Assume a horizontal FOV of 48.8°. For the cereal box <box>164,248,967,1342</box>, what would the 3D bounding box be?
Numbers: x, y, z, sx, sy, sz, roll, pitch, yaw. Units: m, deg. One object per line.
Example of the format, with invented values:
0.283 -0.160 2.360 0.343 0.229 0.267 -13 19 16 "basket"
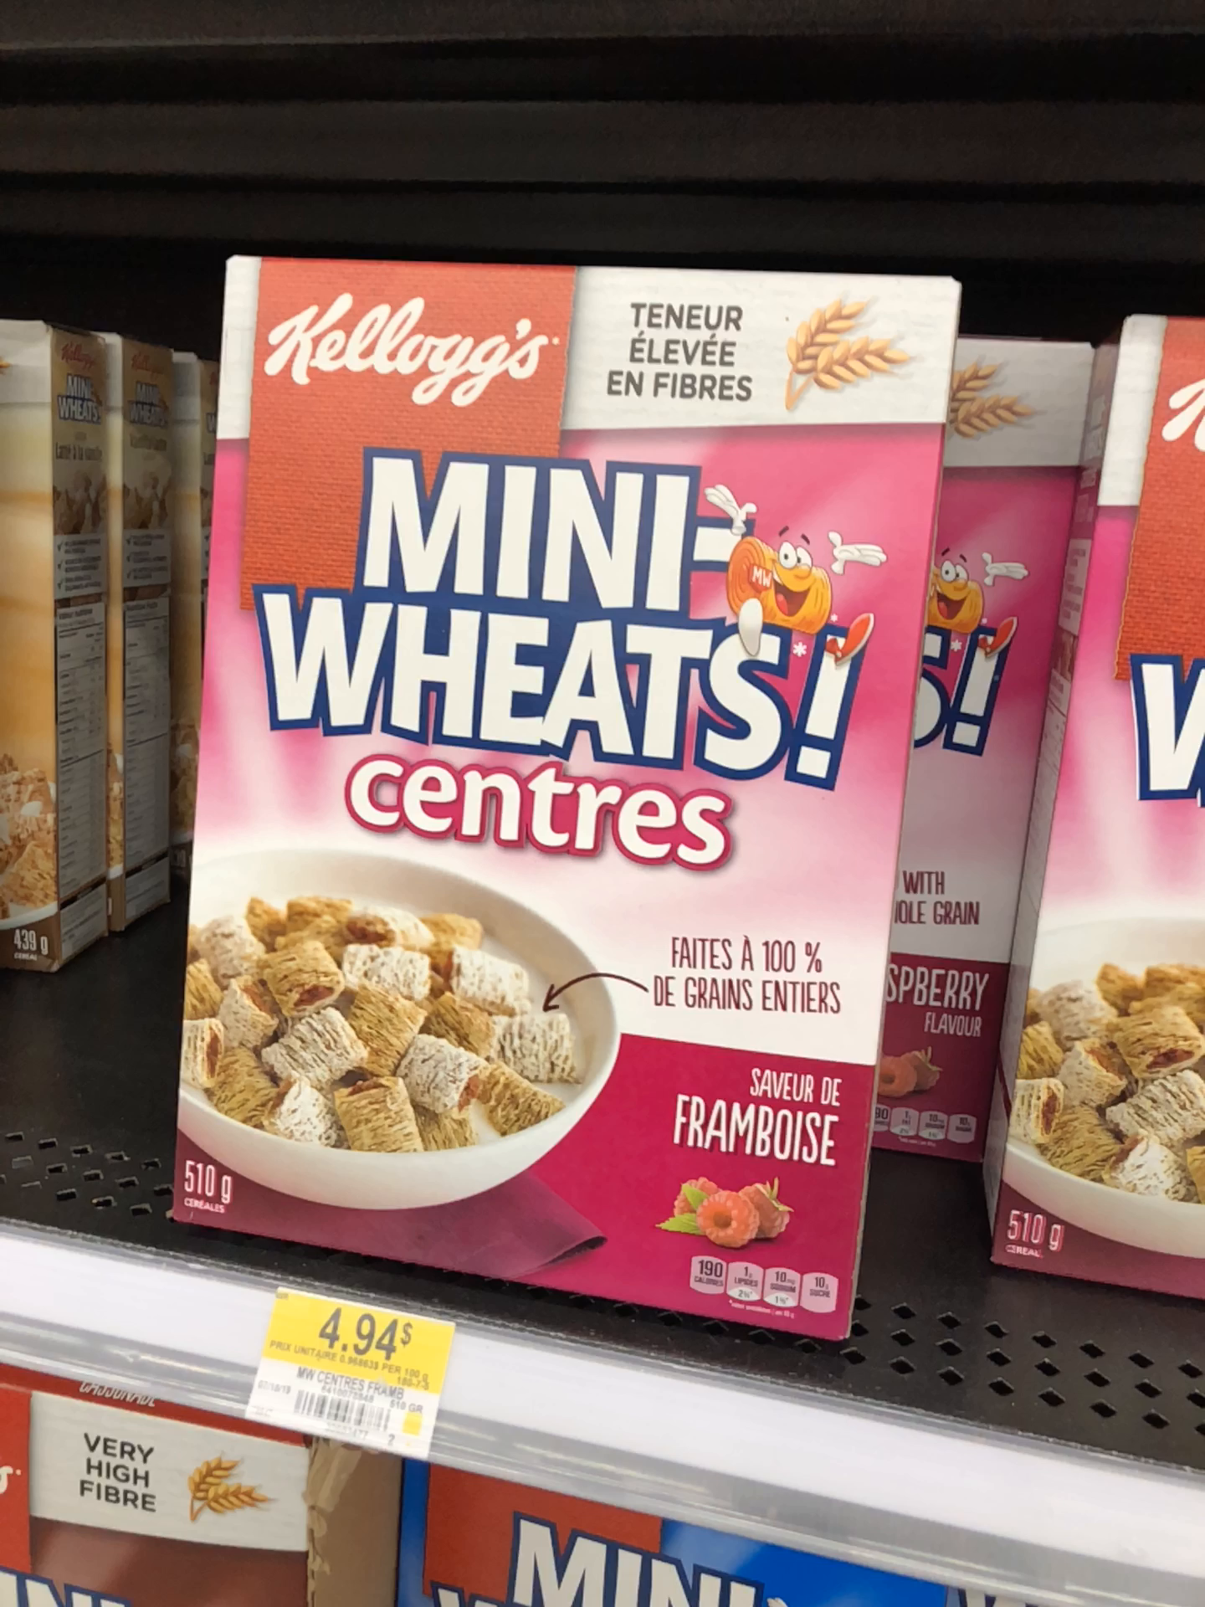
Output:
-0.012 -0.008 0.369 0.190 0.259 0.070 6 7 12 "cereal box"
